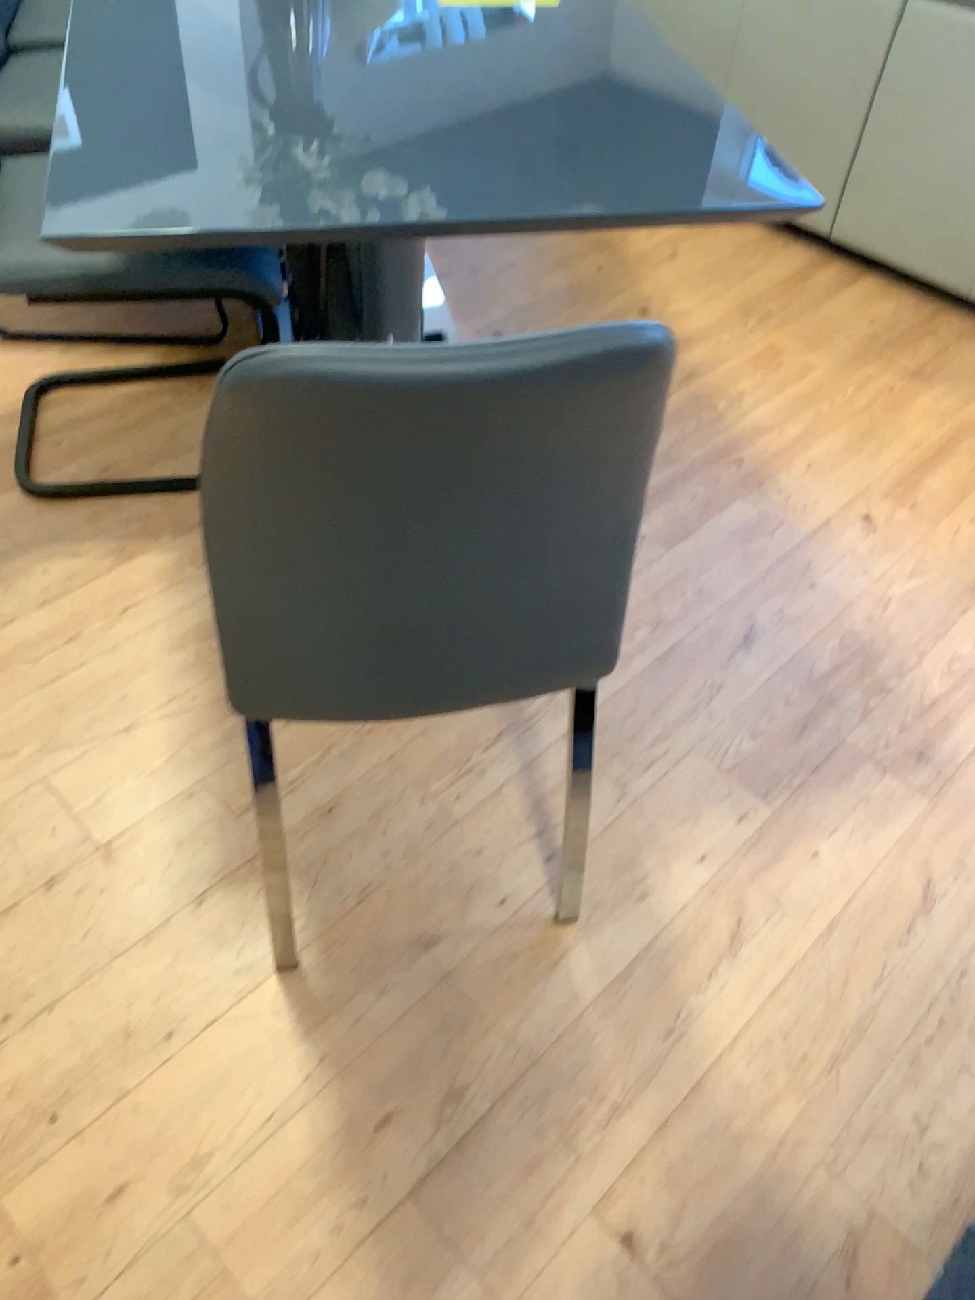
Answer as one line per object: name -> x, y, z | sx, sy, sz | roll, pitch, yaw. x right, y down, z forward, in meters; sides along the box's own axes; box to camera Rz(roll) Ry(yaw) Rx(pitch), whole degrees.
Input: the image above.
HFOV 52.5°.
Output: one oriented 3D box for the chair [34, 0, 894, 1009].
chair -> -0.082, -0.124, 1.123 | 0.510, 0.912, 0.636 | -6, 49, -10
